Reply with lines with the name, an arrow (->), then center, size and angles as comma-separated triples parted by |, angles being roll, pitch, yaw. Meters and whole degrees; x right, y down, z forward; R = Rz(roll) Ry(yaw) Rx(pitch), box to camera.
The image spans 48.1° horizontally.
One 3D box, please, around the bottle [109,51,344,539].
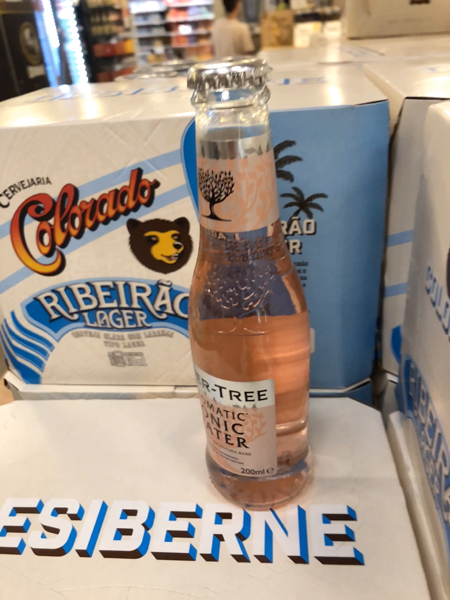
bottle -> 0.005, 0.003, 0.211 | 0.050, 0.188, 0.060 | -26, 36, -35
